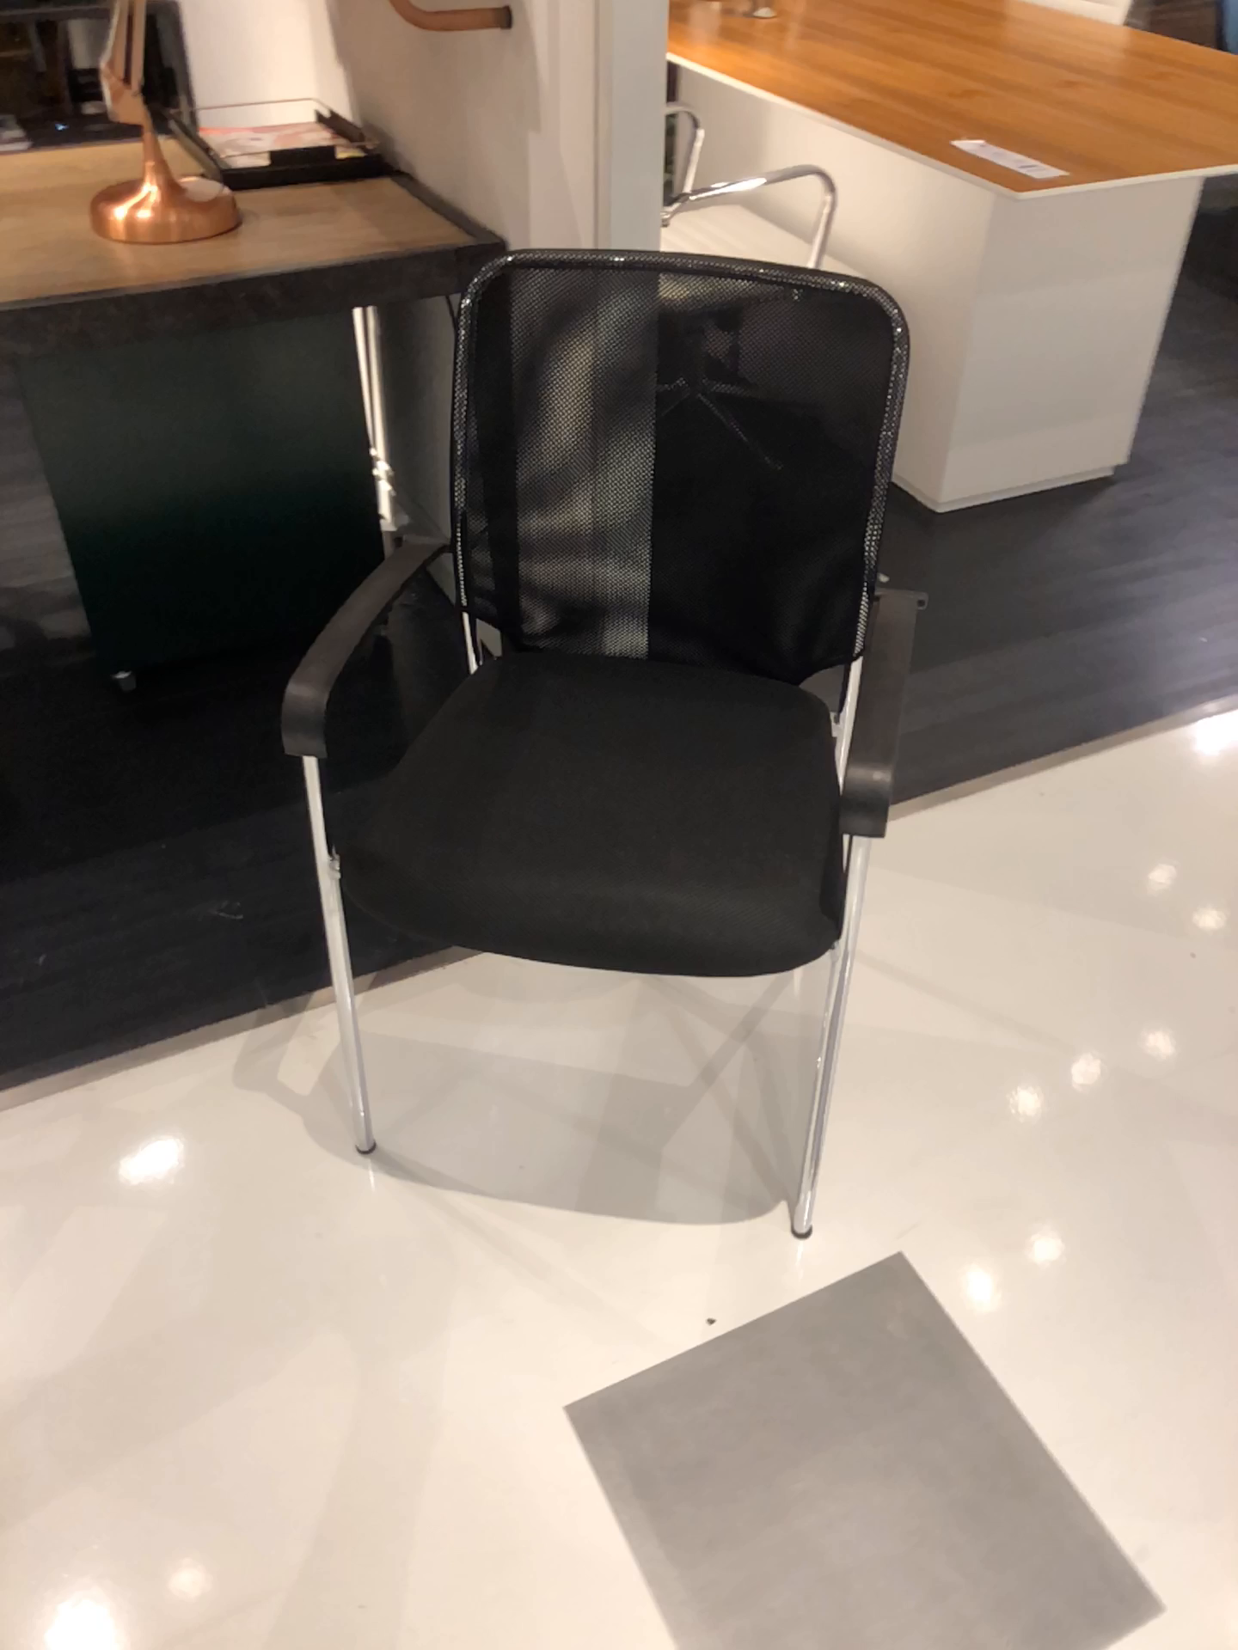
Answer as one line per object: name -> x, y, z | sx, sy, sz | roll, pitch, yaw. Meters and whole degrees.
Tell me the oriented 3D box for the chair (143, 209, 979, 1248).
chair -> -0.008, -0.087, 1.401 | 0.590, 0.863, 0.514 | 8, 39, 8
